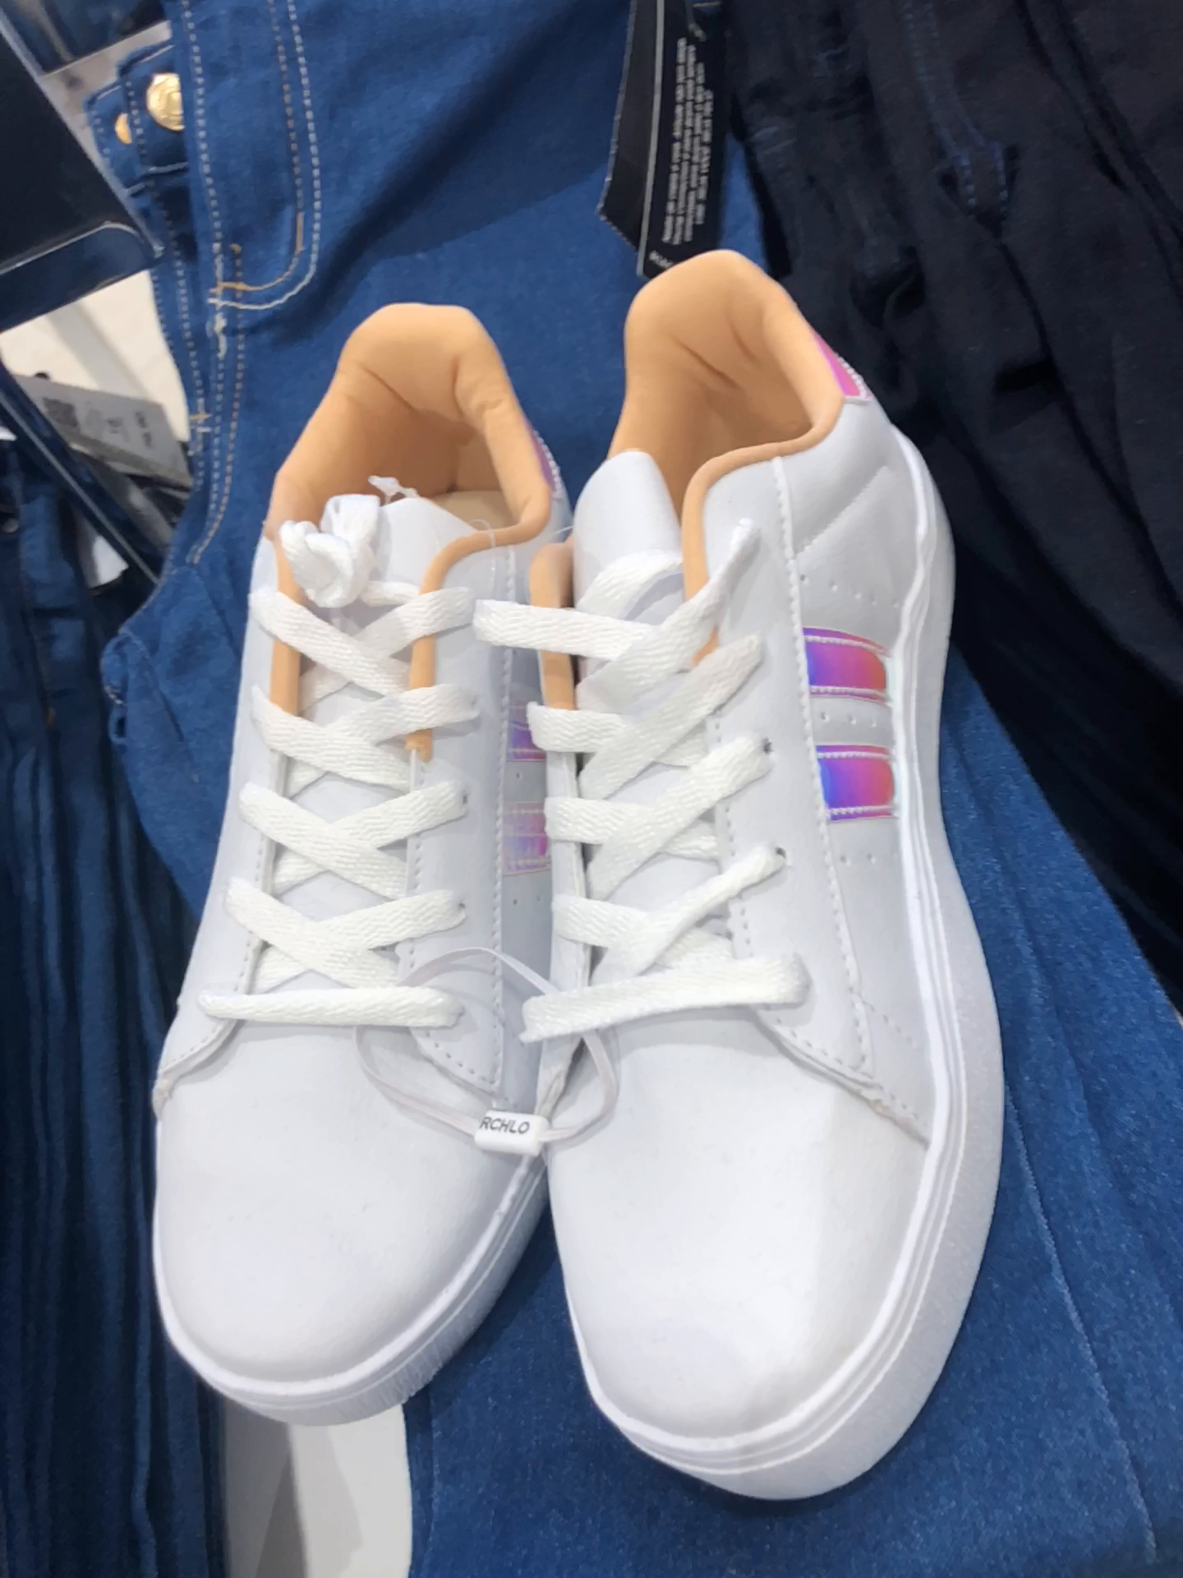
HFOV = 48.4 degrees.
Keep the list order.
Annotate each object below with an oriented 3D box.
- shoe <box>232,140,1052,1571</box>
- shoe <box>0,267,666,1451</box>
[{"bbox_3d":[0.027,0.004,0.276,0.090,0.109,0.261,-11,53,26],"label":"shoe"},{"bbox_3d":[-0.041,0.005,0.320,0.090,0.109,0.261,0,57,10],"label":"shoe"}]
